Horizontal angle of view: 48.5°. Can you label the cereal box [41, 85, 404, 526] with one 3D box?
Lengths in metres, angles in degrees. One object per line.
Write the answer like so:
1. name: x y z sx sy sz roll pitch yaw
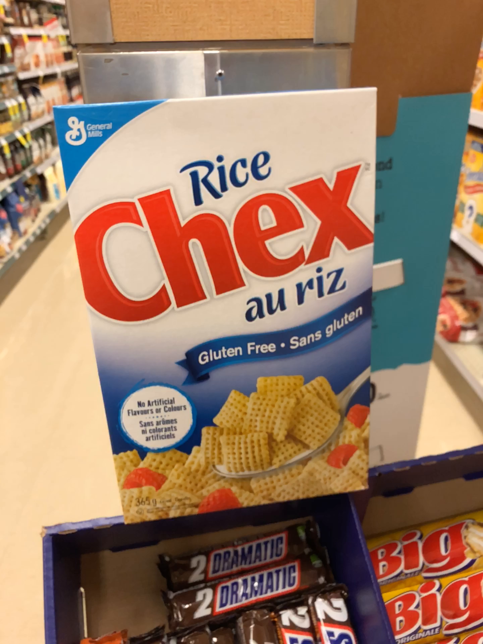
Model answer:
1. cereal box: -0.005 -0.008 0.389 0.210 0.289 0.070 -5 20 -7
